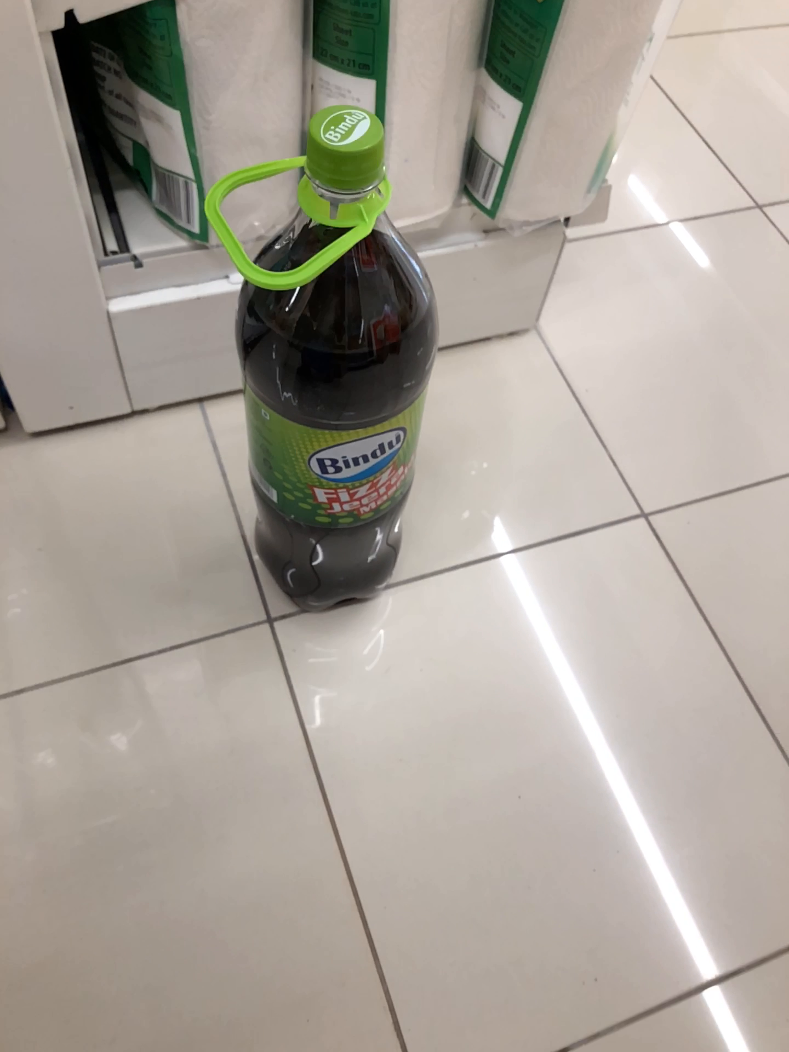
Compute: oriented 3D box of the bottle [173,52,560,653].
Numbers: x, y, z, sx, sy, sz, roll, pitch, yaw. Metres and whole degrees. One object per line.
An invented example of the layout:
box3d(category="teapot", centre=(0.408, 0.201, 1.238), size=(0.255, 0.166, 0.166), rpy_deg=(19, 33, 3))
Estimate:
box3d(category="bottle", centre=(-0.025, -0.058, 0.443), size=(0.110, 0.298, 0.100), rpy_deg=(3, 58, -4))
